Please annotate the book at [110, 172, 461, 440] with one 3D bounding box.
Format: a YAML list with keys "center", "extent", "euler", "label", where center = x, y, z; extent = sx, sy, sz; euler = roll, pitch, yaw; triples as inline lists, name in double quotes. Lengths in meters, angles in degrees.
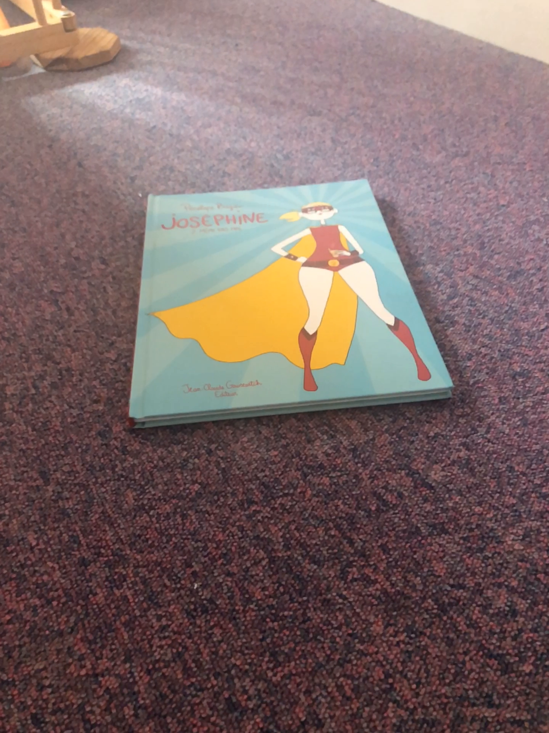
- center: [-0.006, -0.076, 0.517]
  extent: [0.234, 0.020, 0.308]
  euler: [-5, 45, -3]
  label: "book"
